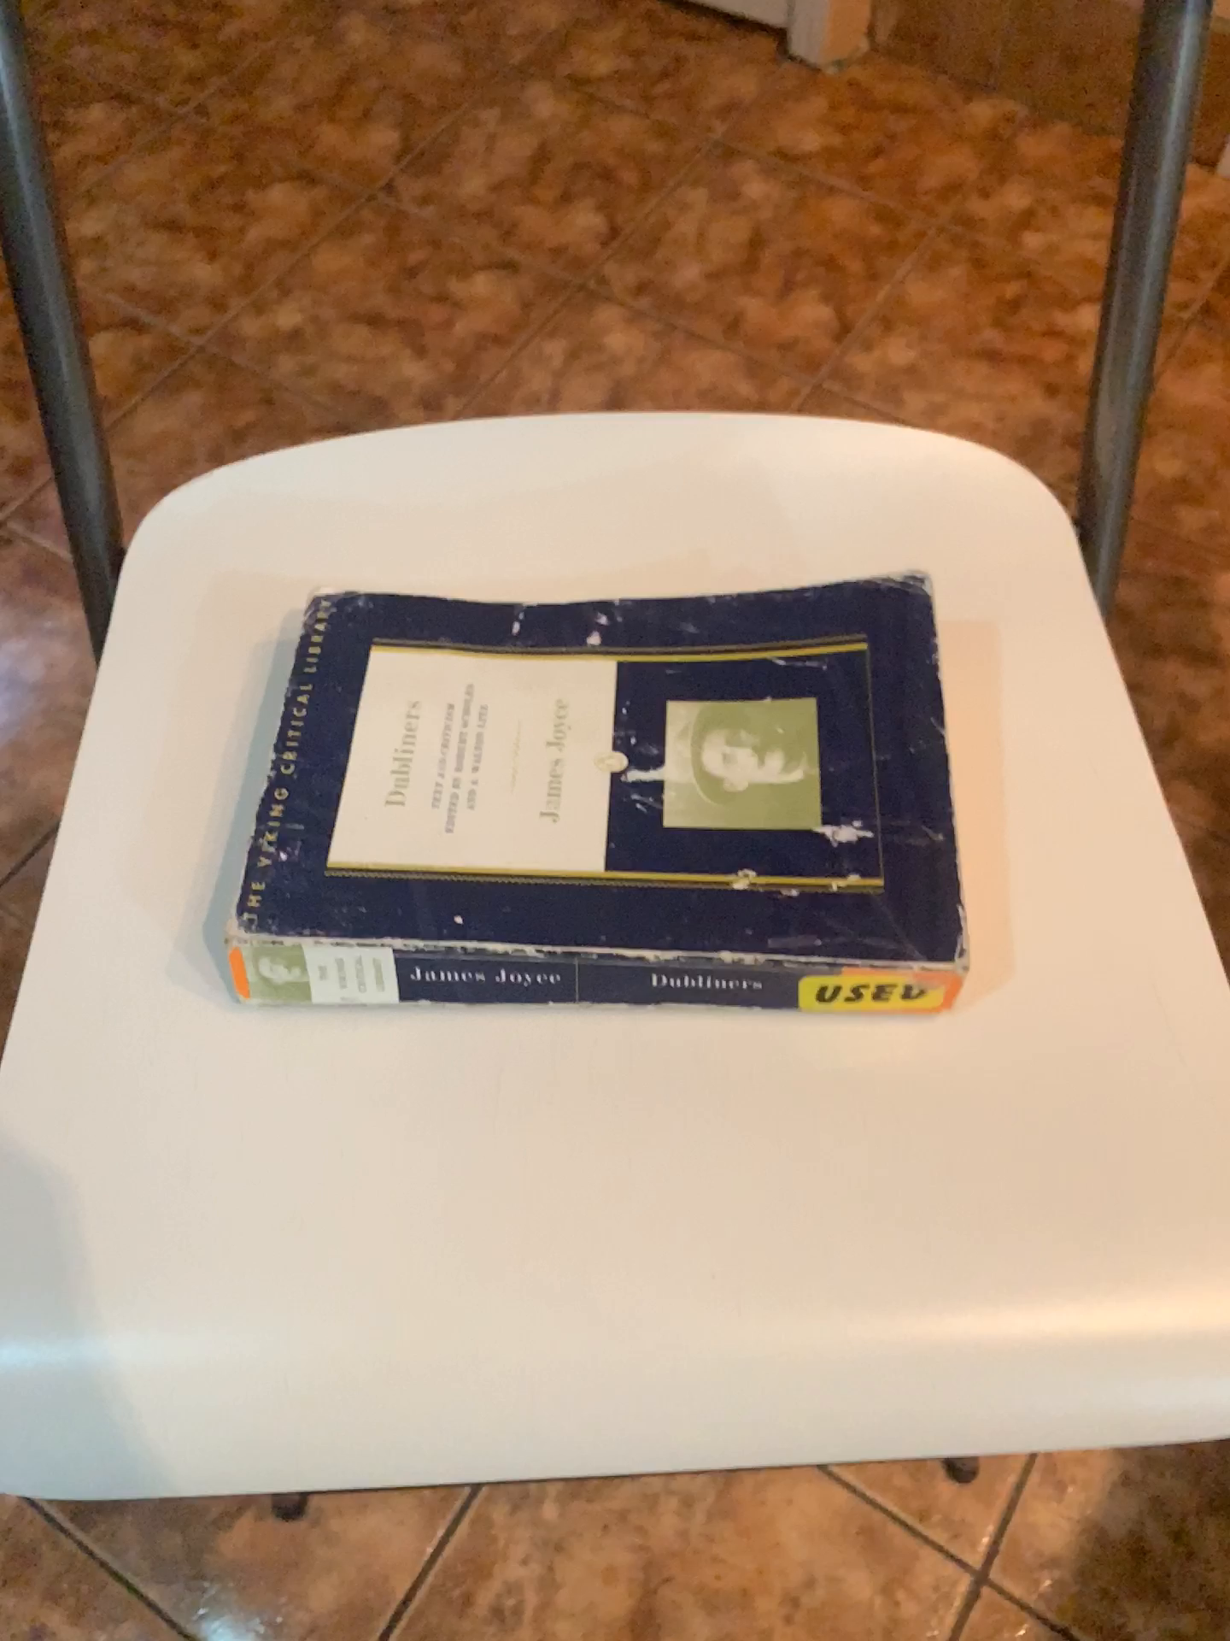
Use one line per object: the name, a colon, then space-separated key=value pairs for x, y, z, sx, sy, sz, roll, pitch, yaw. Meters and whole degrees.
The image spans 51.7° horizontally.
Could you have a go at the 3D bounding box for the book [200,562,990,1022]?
book: x=-0.004 y=-0.012 z=0.365 sx=0.197 sy=0.035 sz=0.132 roll=0 pitch=60 yaw=1
